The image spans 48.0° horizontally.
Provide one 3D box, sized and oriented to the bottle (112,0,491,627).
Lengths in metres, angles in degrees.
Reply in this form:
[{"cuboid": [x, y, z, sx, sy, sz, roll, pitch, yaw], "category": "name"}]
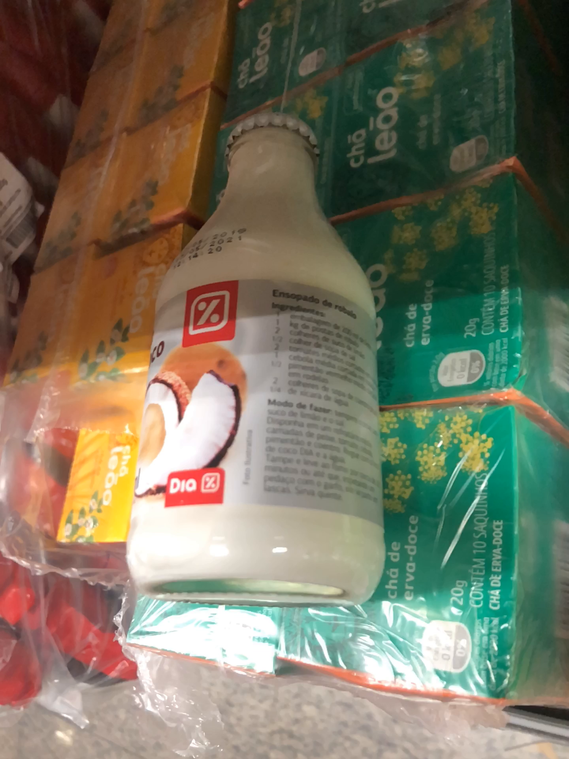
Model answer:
[{"cuboid": [0.008, -0.020, 0.176, 0.070, 0.050, 0.160, -14, 62, 36], "category": "bottle"}]
